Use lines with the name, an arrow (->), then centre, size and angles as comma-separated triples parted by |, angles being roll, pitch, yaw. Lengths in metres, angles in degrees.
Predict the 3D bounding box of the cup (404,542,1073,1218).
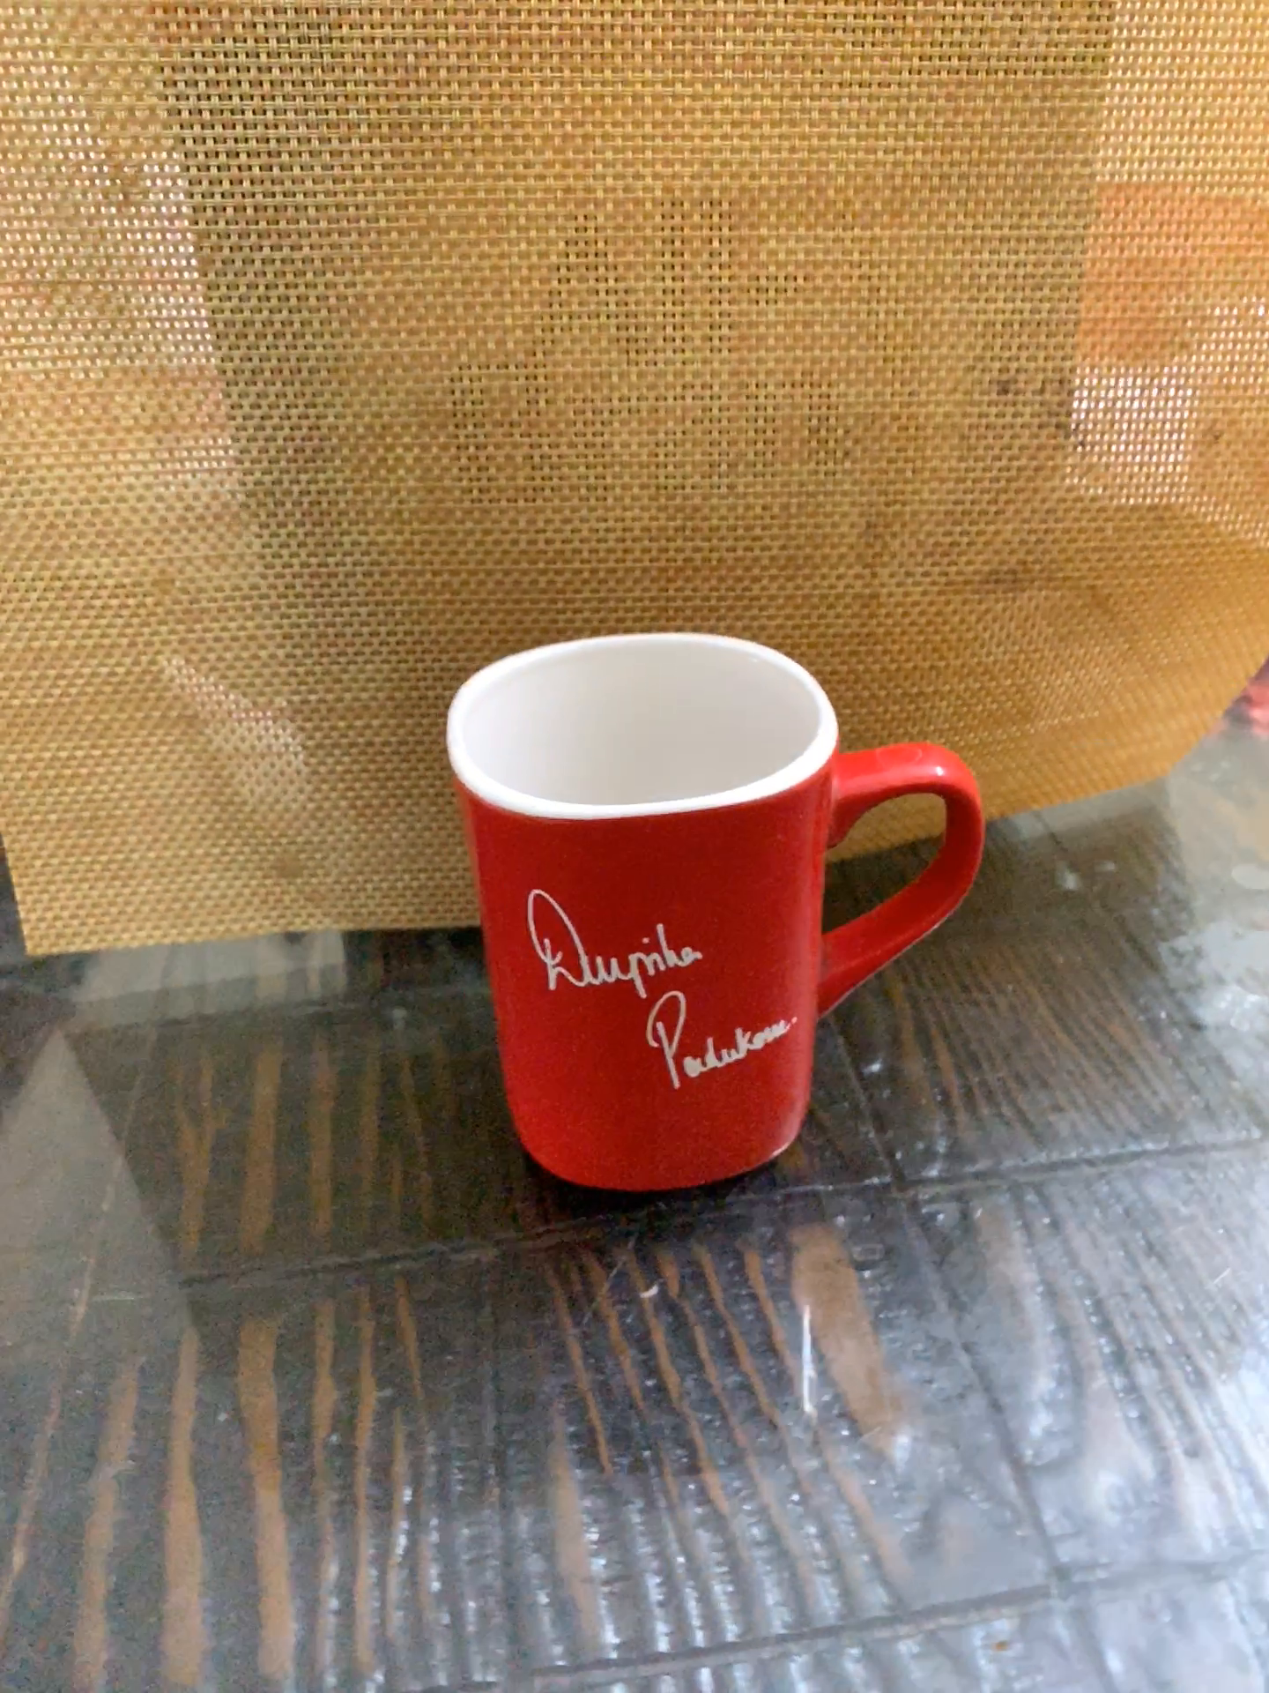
cup -> 0.014, 0.003, 0.242 | 0.095, 0.085, 0.070 | -9, 32, -8
